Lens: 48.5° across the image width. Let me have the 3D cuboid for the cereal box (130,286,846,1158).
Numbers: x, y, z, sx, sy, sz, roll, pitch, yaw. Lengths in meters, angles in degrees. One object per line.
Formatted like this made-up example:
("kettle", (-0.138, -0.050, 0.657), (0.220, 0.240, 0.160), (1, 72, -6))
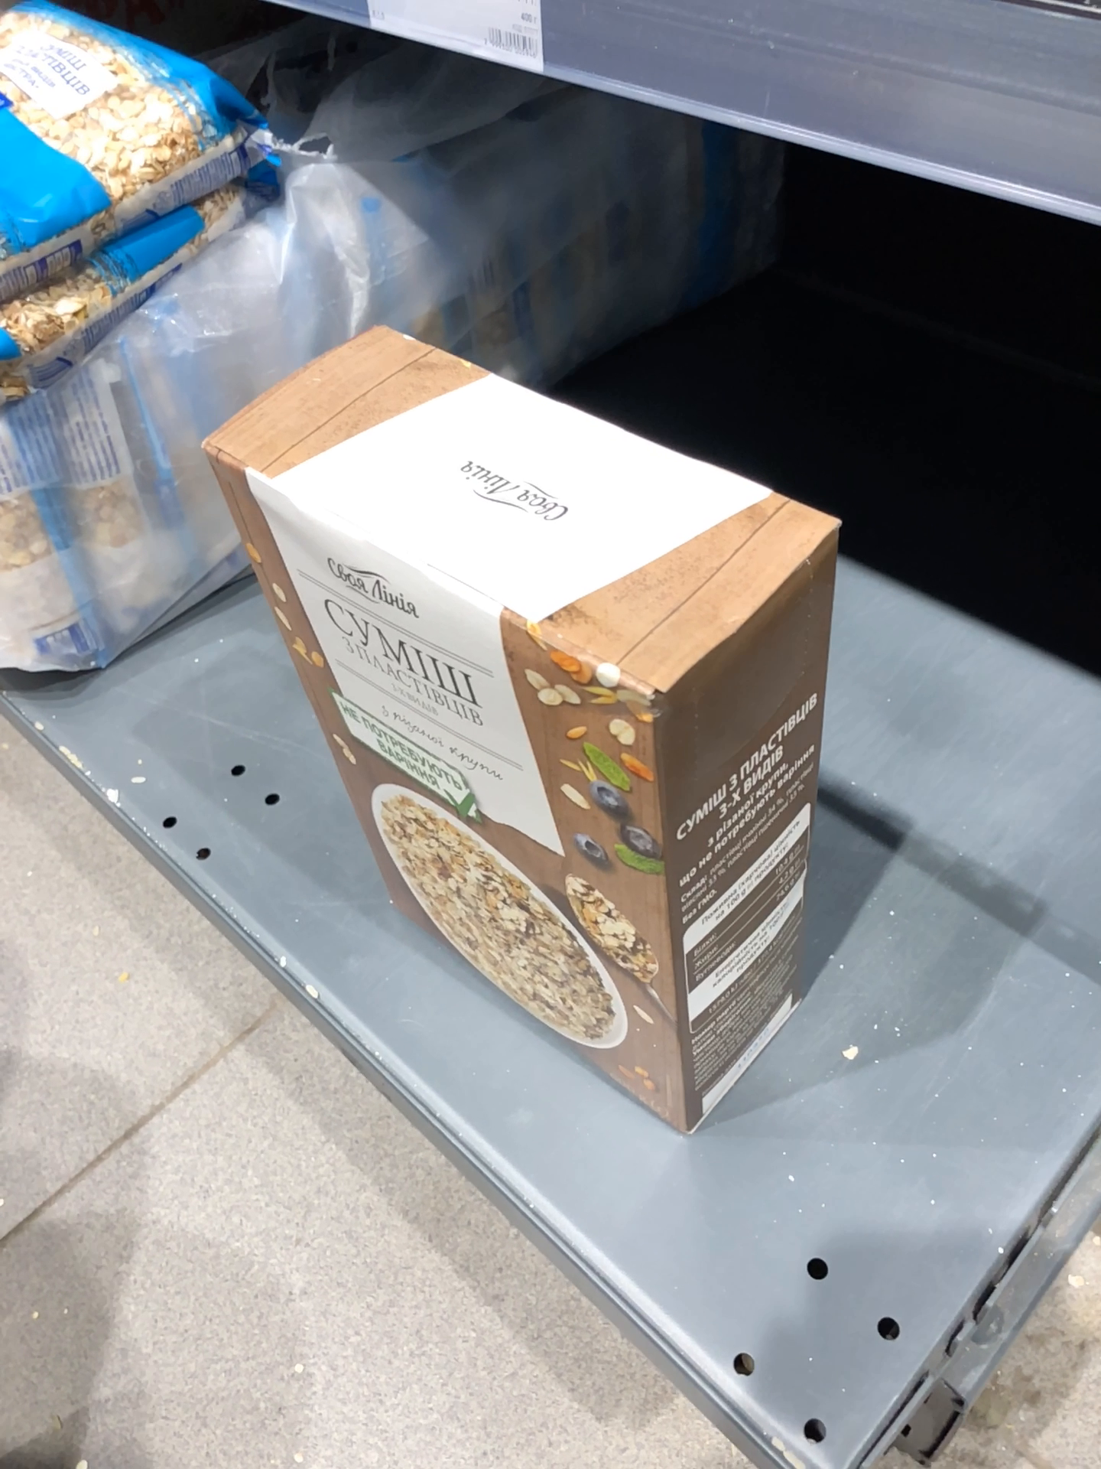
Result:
("cereal box", (-0.009, 0.005, 0.343), (0.161, 0.208, 0.060), (32, 61, 30))
